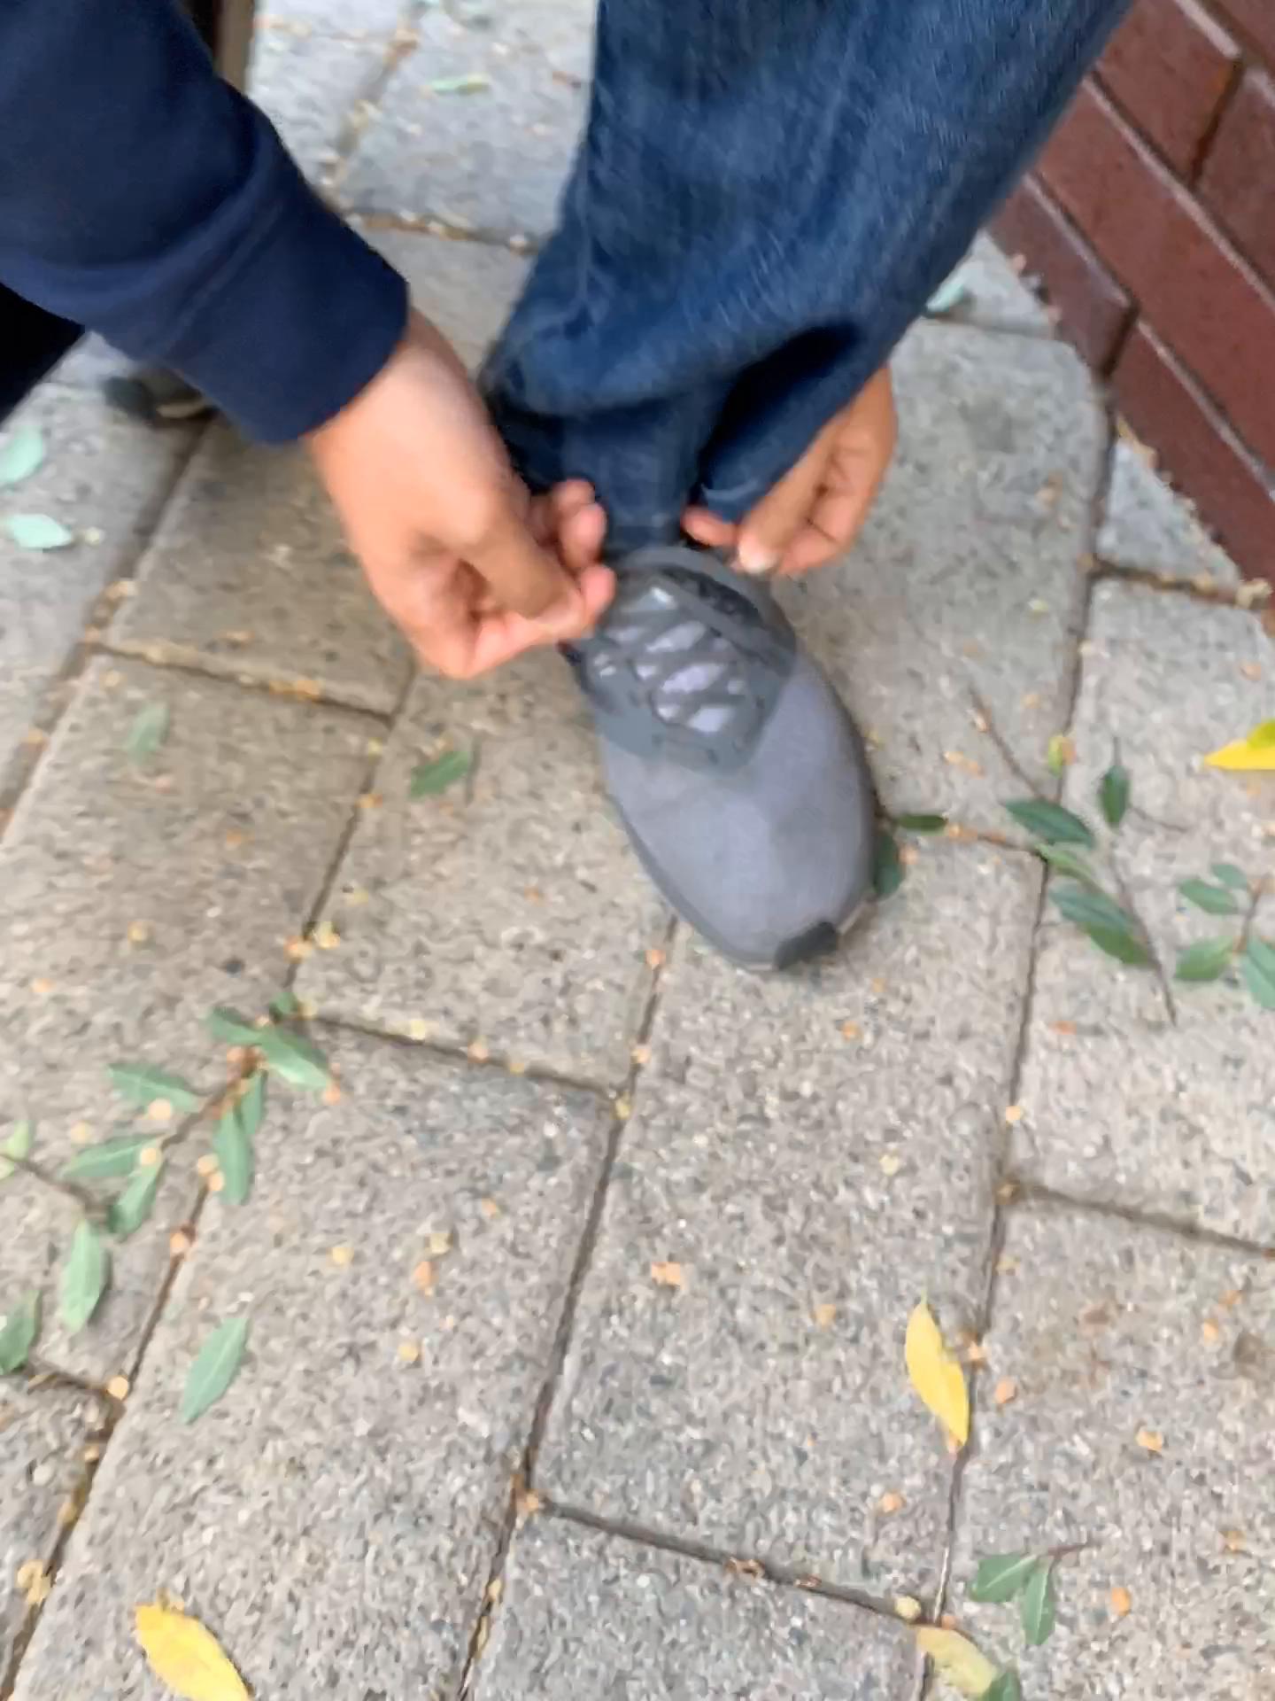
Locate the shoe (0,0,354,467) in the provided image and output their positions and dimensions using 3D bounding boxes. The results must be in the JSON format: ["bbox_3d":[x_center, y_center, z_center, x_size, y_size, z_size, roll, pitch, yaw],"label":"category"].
[{"bbox_3d":[-0.235,-0.346,0.647,0.116,0.274,0.098,21,25,11],"label":"shoe"}]

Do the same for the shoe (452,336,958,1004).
[{"bbox_3d":[0.019,-0.088,0.592,0.110,0.083,0.280,-20,67,-10],"label":"shoe"}]
